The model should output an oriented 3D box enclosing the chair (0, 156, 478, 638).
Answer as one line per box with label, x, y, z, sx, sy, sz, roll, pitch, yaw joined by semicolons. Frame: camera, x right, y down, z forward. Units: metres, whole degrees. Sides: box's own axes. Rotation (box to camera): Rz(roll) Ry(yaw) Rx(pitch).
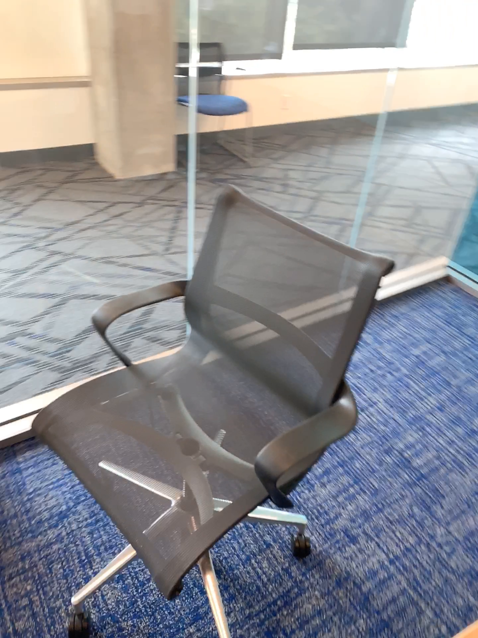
chair;-0.099;0.216;0.951;0.663;0.773;0.643;32;43;32
